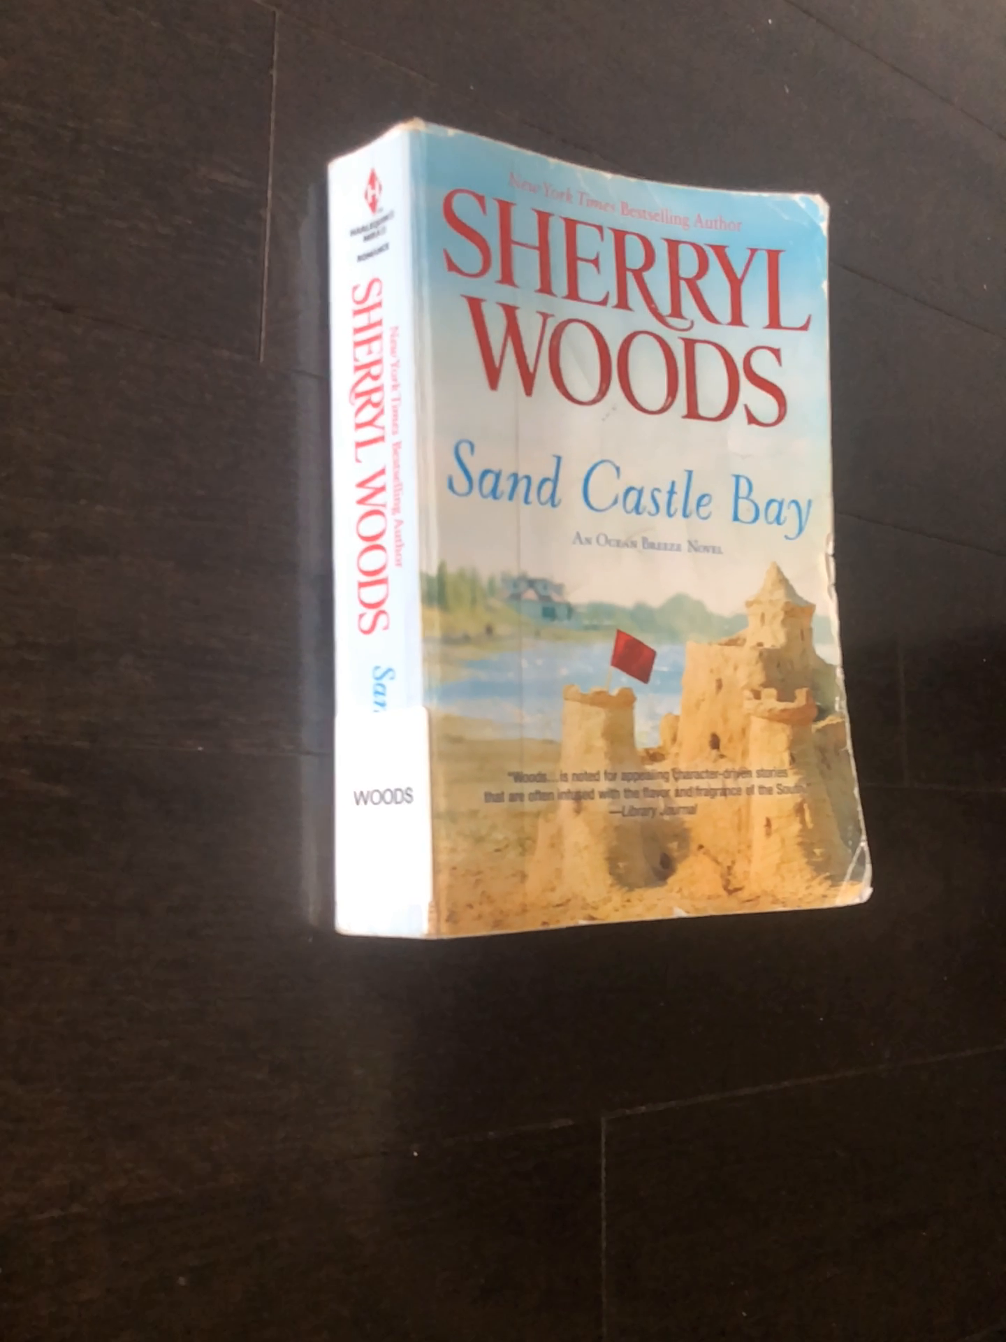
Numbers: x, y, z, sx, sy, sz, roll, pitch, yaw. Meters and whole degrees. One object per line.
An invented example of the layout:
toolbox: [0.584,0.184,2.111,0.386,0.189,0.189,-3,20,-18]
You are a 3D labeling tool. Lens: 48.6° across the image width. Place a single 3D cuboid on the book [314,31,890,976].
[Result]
book: [0.024,-0.027,0.235,0.120,0.037,0.161,2,85,-31]
